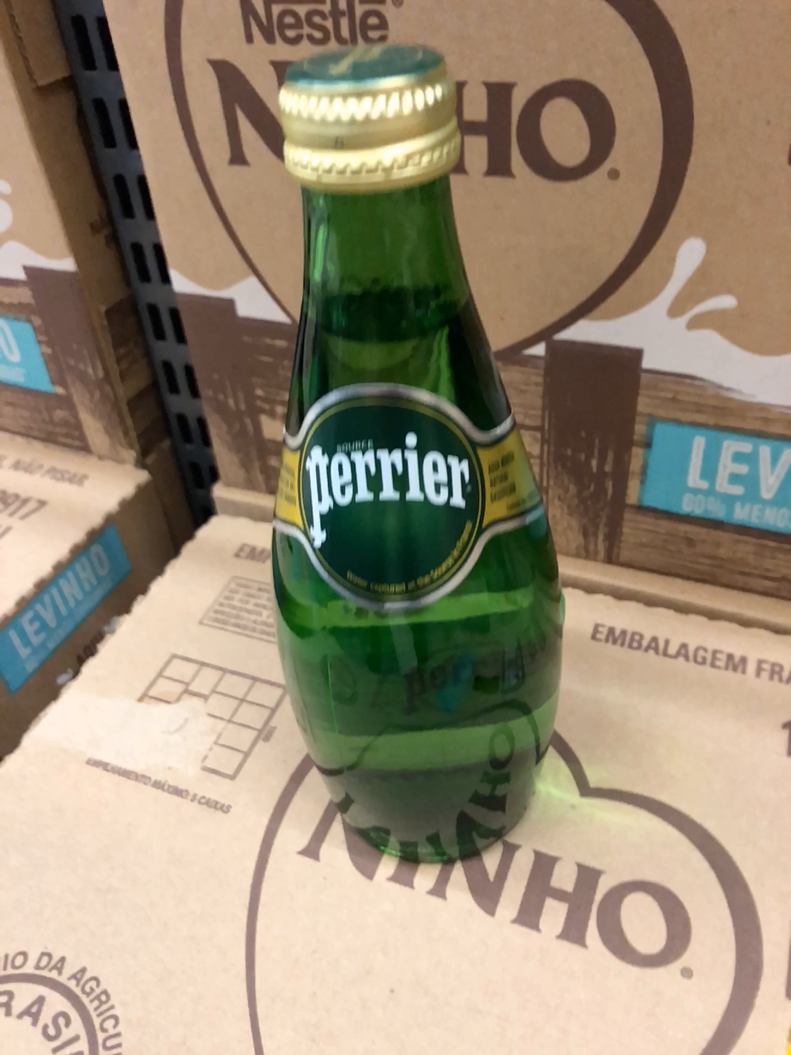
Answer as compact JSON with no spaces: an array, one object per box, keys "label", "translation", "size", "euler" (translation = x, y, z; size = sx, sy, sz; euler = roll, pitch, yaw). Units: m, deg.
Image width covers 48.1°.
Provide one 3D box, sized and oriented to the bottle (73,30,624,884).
[{"label":"bottle","translation":[0.002,0.002,0.192],"size":[0.070,0.179,0.060],"euler":[-2,40,5]}]
